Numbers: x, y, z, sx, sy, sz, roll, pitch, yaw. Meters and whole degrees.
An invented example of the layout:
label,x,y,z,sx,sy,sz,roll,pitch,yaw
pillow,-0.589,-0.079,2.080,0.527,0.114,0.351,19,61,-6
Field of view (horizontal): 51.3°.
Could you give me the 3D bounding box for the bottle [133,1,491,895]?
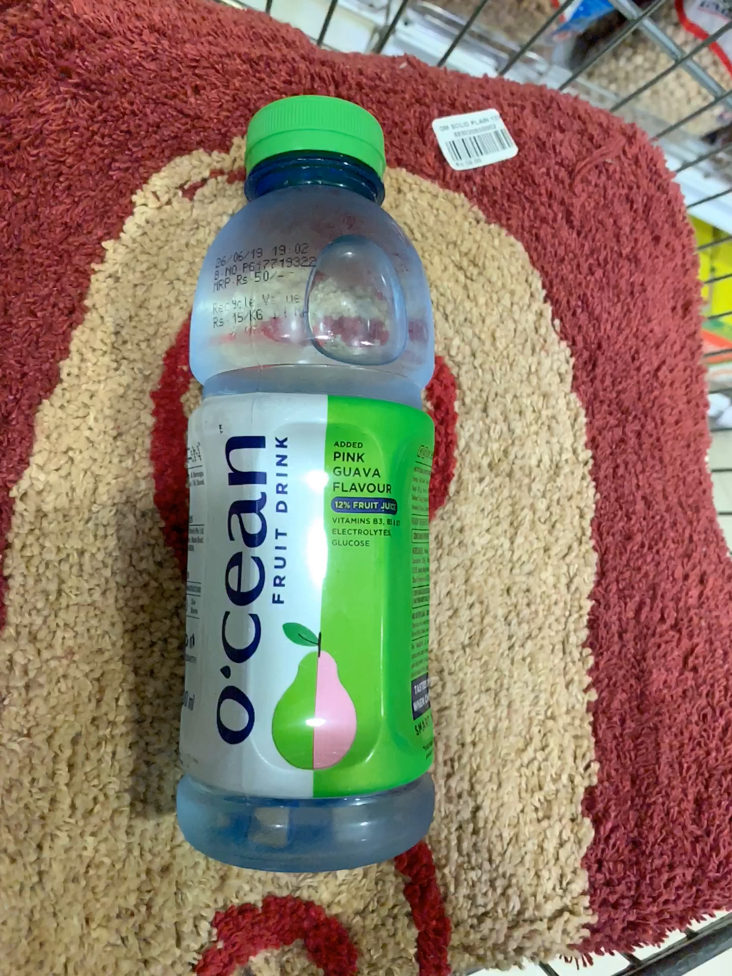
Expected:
label,x,y,z,sx,sy,sz,roll,pitch,yaw
bottle,-0.012,-0.010,0.214,0.080,0.070,0.210,1,86,-2
